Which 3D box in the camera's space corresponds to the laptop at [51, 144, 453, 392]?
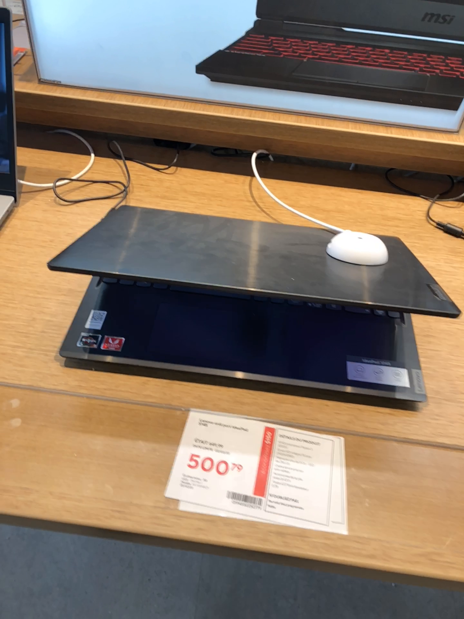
[{"bbox_3d":[0.029,-0.052,0.522,0.330,0.083,0.224,7,48,-1],"label":"laptop"}]
